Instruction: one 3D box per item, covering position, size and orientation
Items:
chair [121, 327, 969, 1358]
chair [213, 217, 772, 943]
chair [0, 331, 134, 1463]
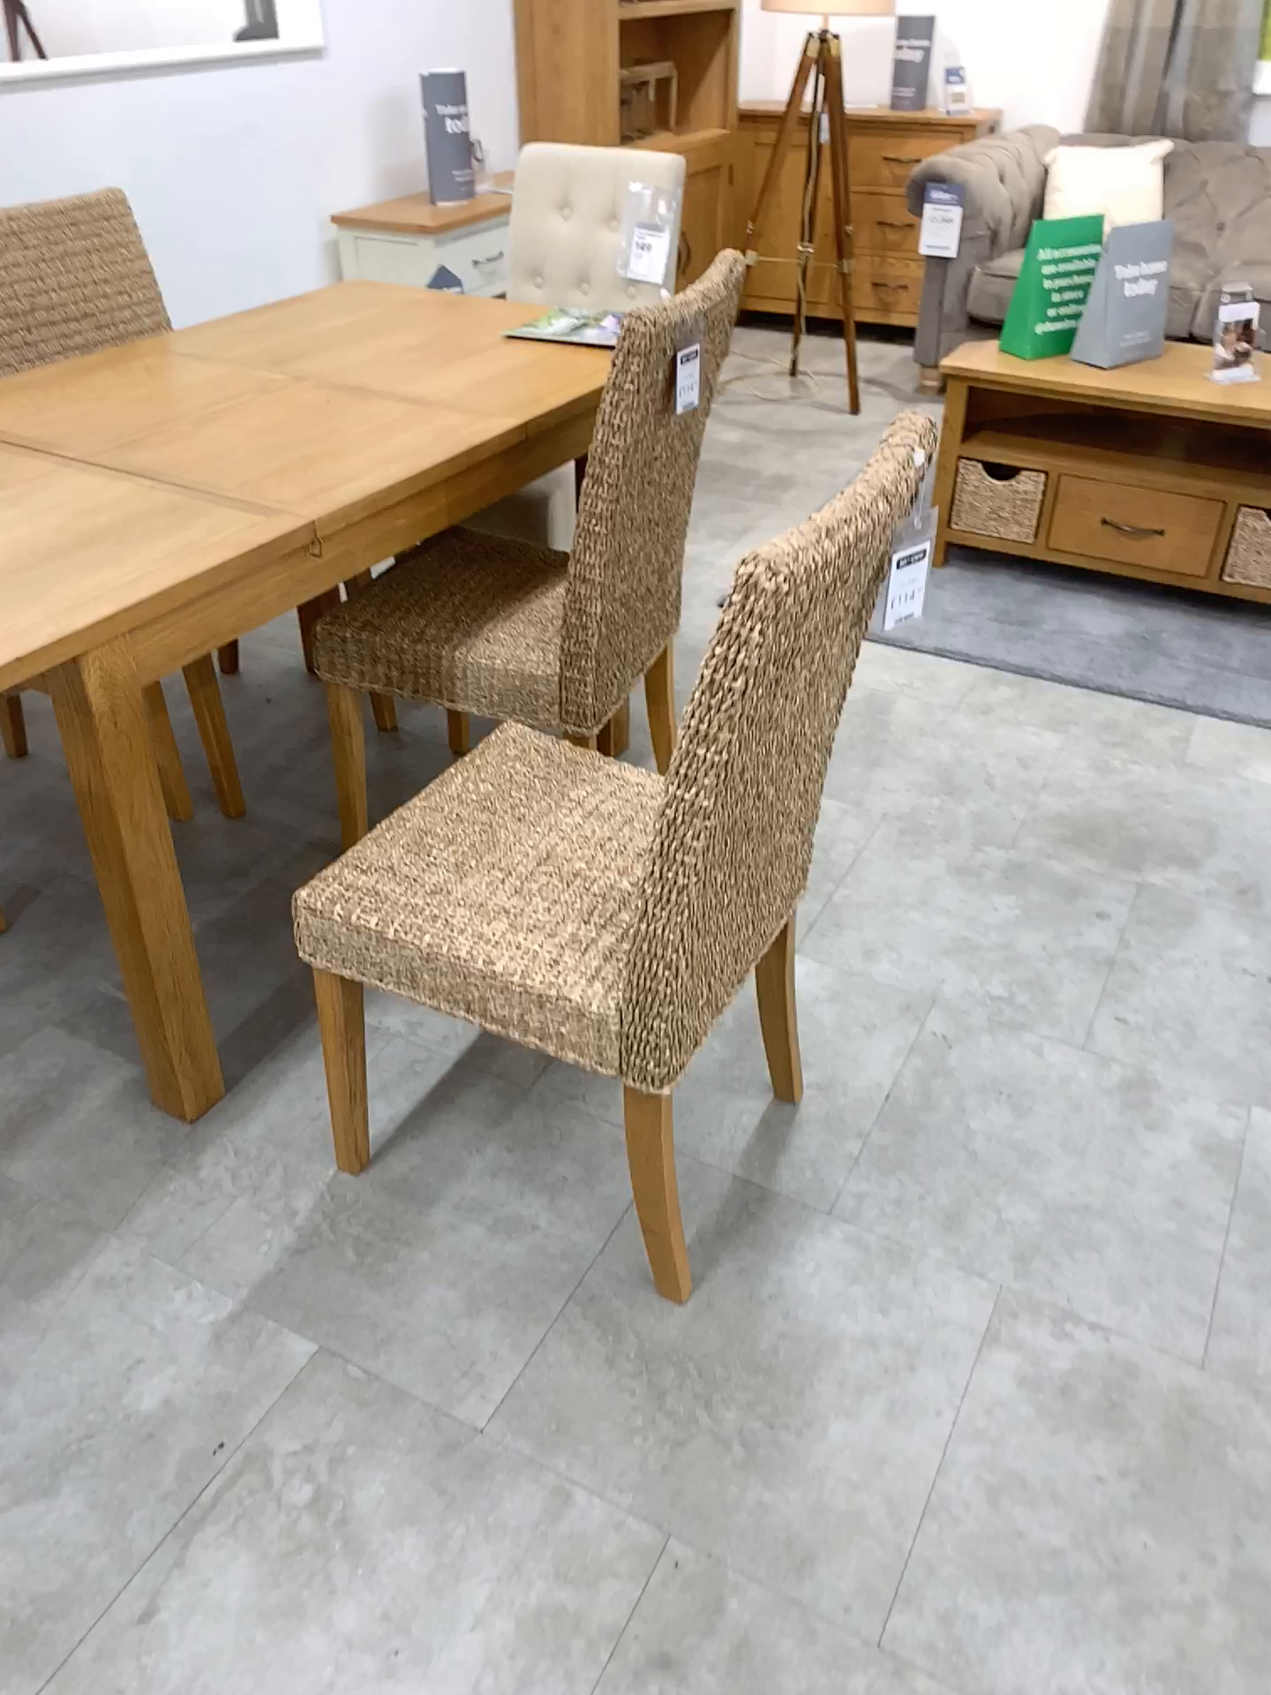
[{"bbox_3d":[-0.057,-0.029,1.388,0.576,0.840,0.508,17,38,23],"label":"chair"},{"bbox_3d":[-0.164,-0.417,1.960,0.565,0.870,0.529,12,36,17],"label":"chair"},{"bbox_3d":[-1.000,0.036,1.212,0.725,0.840,0.428,11,36,15],"label":"chair"}]
